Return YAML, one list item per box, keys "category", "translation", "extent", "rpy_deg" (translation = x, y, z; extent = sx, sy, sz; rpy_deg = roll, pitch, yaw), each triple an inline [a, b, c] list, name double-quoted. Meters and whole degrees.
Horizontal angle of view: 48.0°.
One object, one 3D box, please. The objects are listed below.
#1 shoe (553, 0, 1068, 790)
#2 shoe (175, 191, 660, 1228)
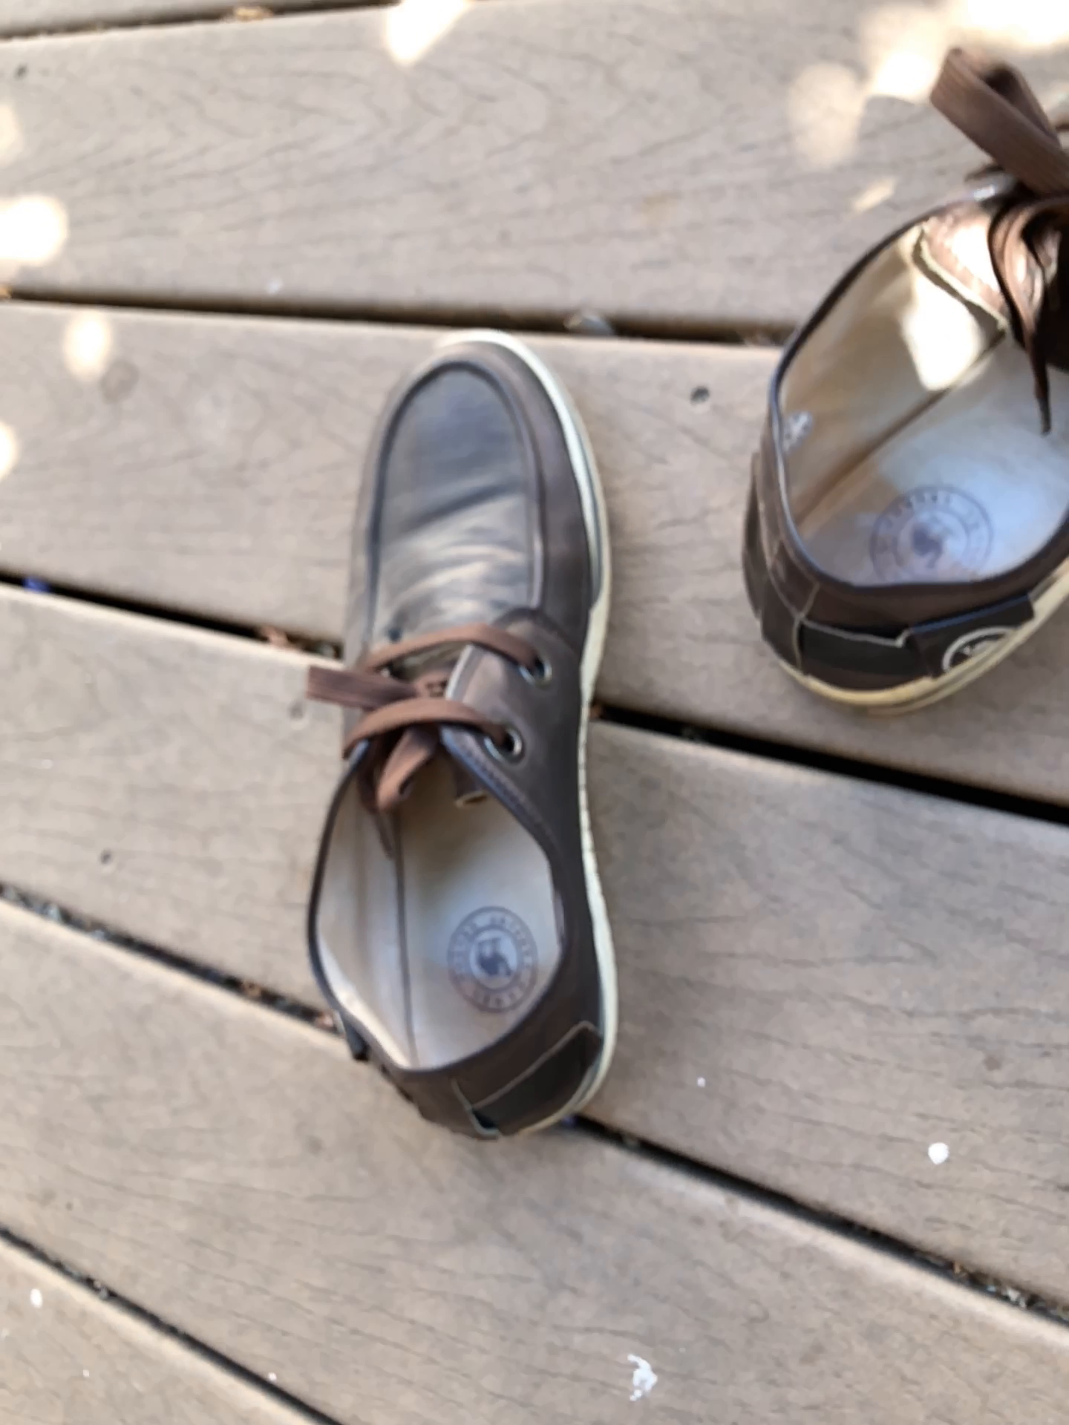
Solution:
- category: "shoe"
  translation: [0.169, -0.122, 0.334]
  extent: [0.304, 0.116, 0.110]
  rpy_deg: [-43, 67, 14]
- category: "shoe"
  translation: [-0.040, 0.002, 0.417]
  extent: [0.110, 0.116, 0.302]
  rpy_deg: [-8, 79, 24]
